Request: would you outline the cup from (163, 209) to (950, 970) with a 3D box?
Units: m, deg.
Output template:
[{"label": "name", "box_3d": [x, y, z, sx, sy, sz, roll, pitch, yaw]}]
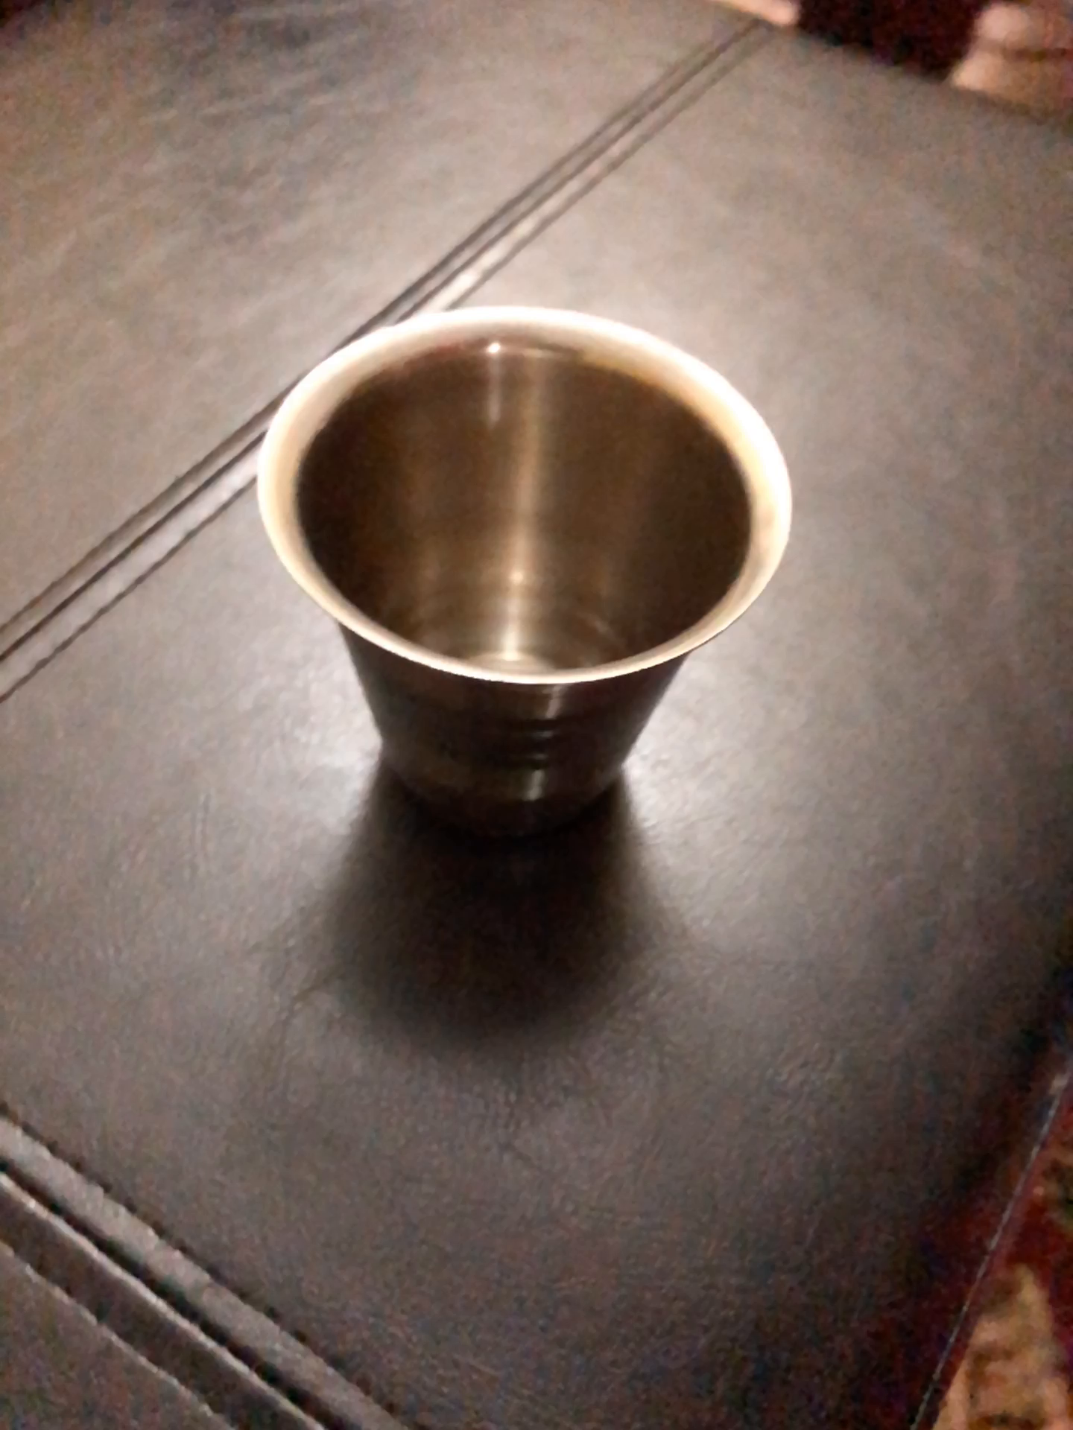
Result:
[{"label": "cup", "box_3d": [0.002, -0.020, 0.176, 0.074, 0.052, 0.067, 2, 55, -3]}]
